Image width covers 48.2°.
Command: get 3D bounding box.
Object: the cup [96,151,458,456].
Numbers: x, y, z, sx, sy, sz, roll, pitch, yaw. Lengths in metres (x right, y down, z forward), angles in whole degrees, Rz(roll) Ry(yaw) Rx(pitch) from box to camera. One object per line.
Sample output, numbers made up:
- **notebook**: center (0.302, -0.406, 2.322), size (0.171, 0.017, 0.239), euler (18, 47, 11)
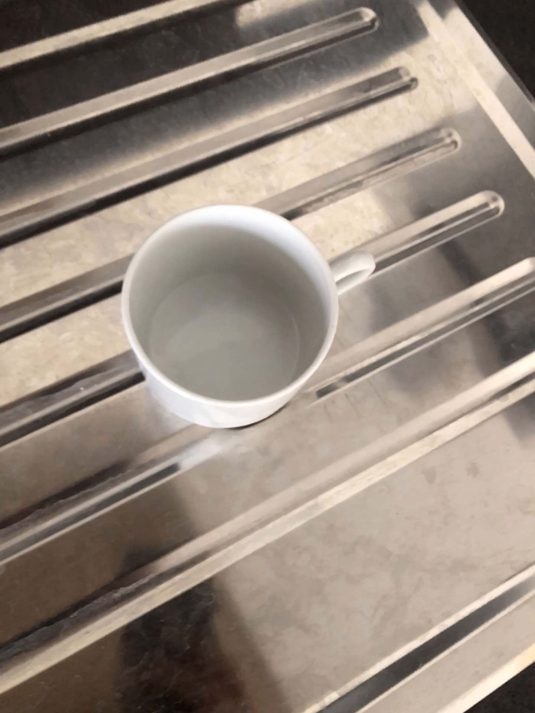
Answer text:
- **cup**: center (0.000, -0.020, 0.242), size (0.110, 0.060, 0.080), euler (-17, 75, -13)
